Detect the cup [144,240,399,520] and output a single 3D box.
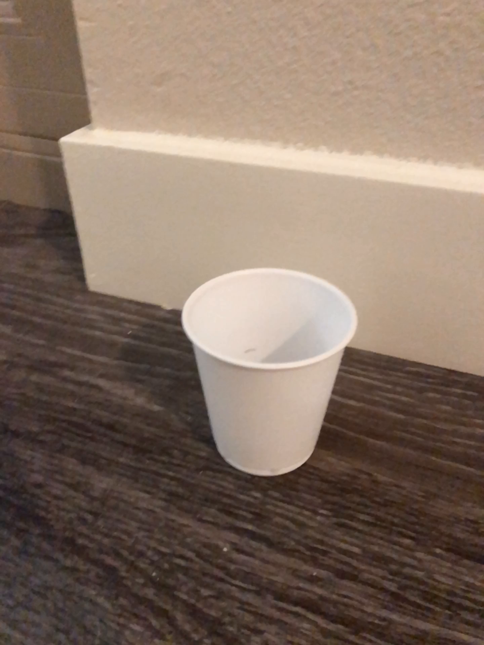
[{"bbox_3d":[0.010,0.016,0.196,0.060,0.060,0.060,0,35,0],"label":"cup"}]
